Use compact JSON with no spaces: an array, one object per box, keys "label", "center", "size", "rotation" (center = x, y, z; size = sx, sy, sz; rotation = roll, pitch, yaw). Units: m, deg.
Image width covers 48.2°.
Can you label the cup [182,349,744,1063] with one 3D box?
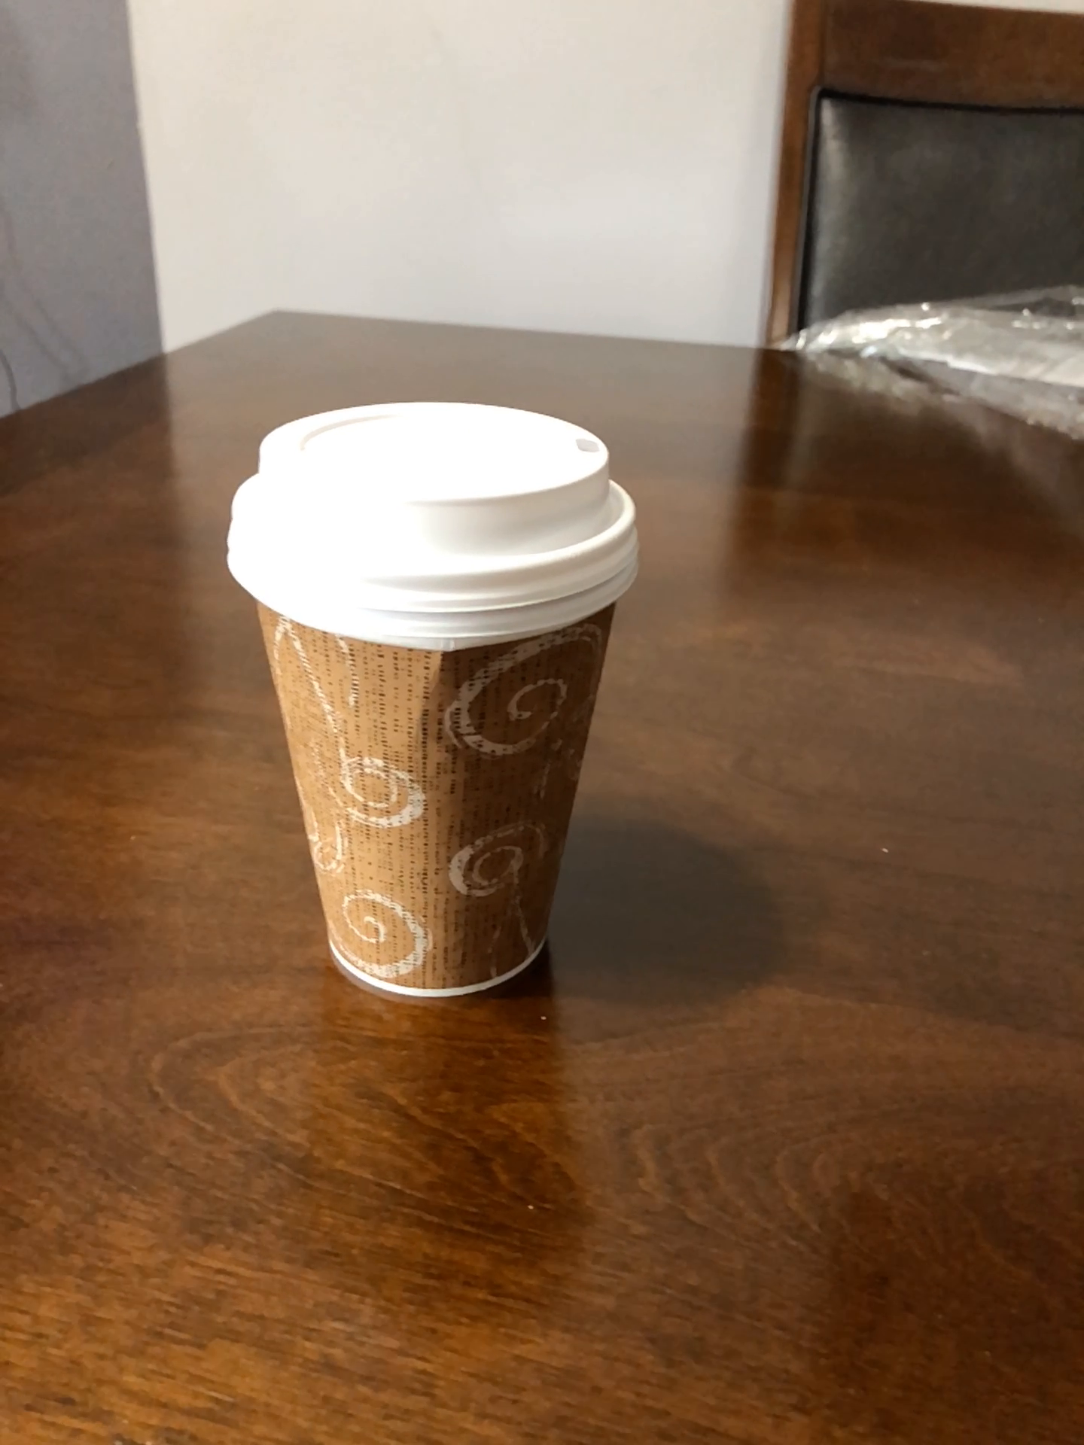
[{"label":"cup","center":[-0.020,-0.010,0.229],"size":[0.070,0.100,0.080],"rotation":[-11,30,-24]}]
